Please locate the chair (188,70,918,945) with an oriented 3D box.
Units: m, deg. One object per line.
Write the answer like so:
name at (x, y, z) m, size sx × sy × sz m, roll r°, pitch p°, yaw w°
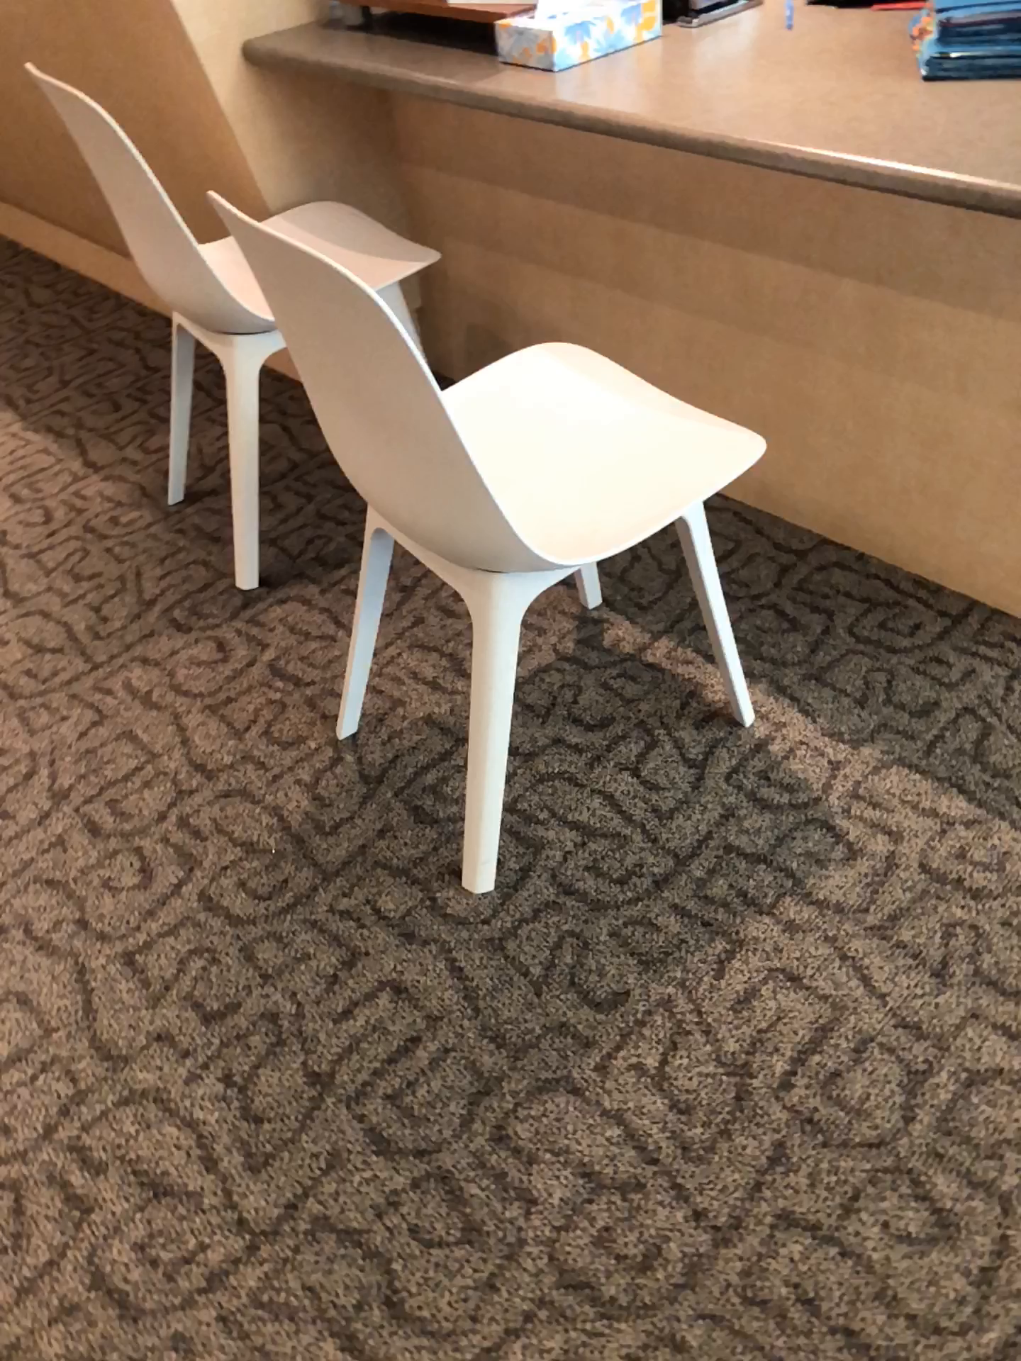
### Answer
chair at (0.058, -0.214, 1.368) m, size 0.551 × 0.794 × 0.483 m, roll -27°, pitch 45°, yaw -22°
